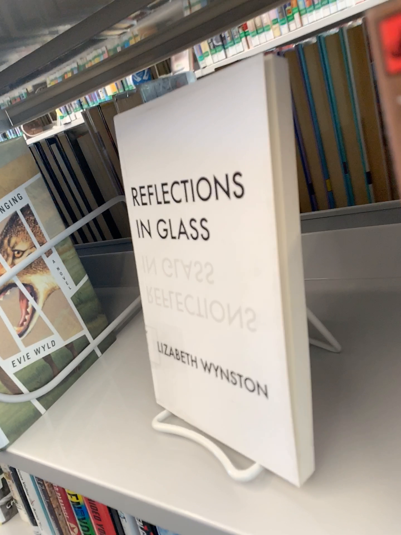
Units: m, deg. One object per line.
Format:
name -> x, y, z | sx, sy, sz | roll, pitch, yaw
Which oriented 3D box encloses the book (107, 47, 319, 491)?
book -> 0.001, 0.003, 0.232 | 0.018, 0.196, 0.128 | -15, 14, -38
